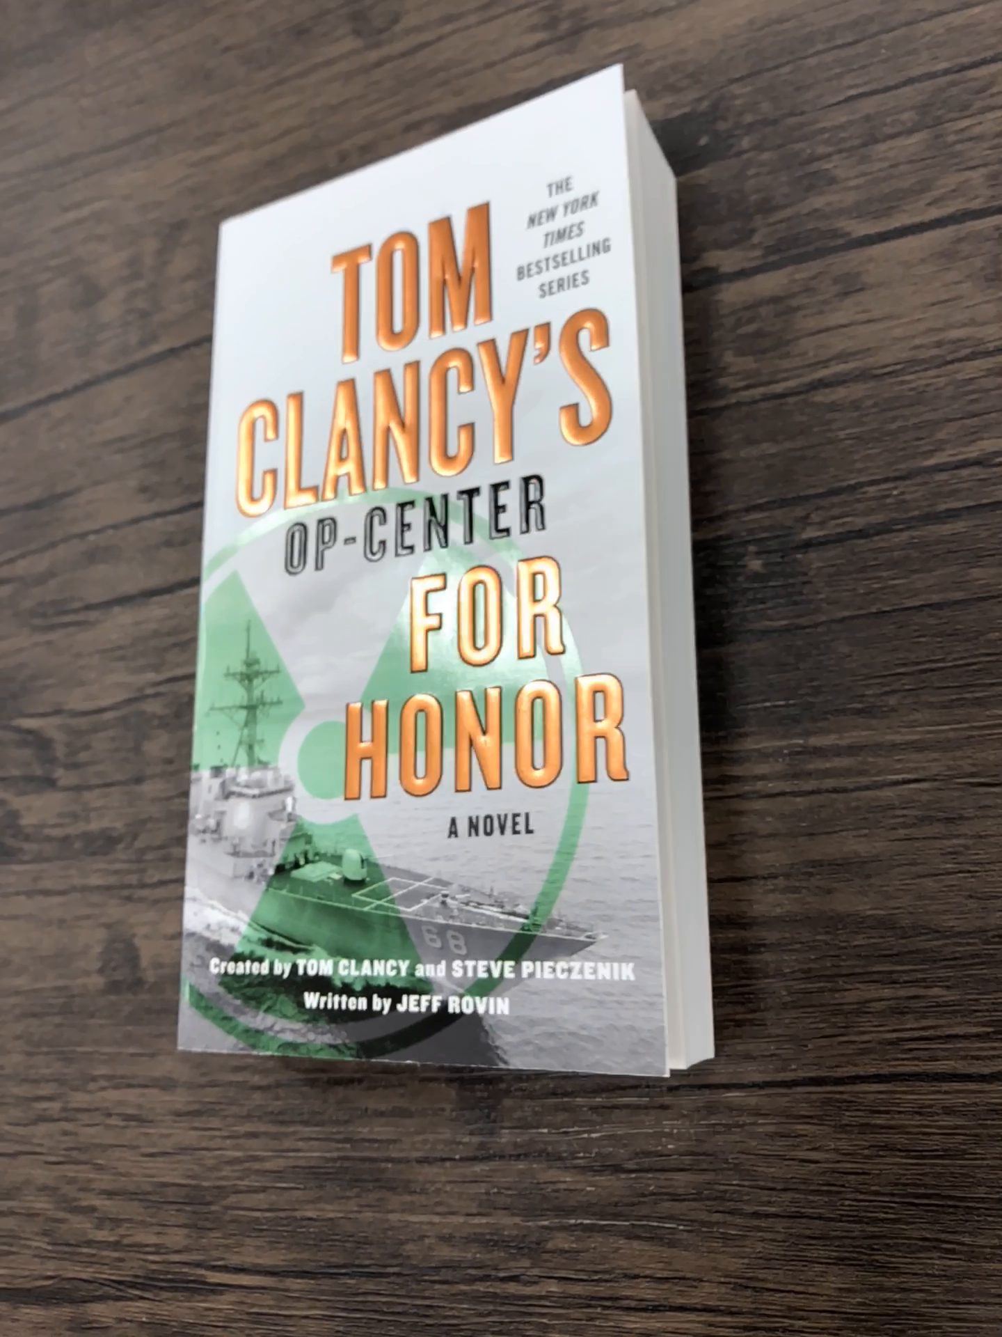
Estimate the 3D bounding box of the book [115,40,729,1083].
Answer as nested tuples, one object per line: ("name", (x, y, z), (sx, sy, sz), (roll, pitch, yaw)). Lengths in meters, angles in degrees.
("book", (-0.019, -0.018, 0.239), (0.113, 0.040, 0.190), (-8, 75, 27))
